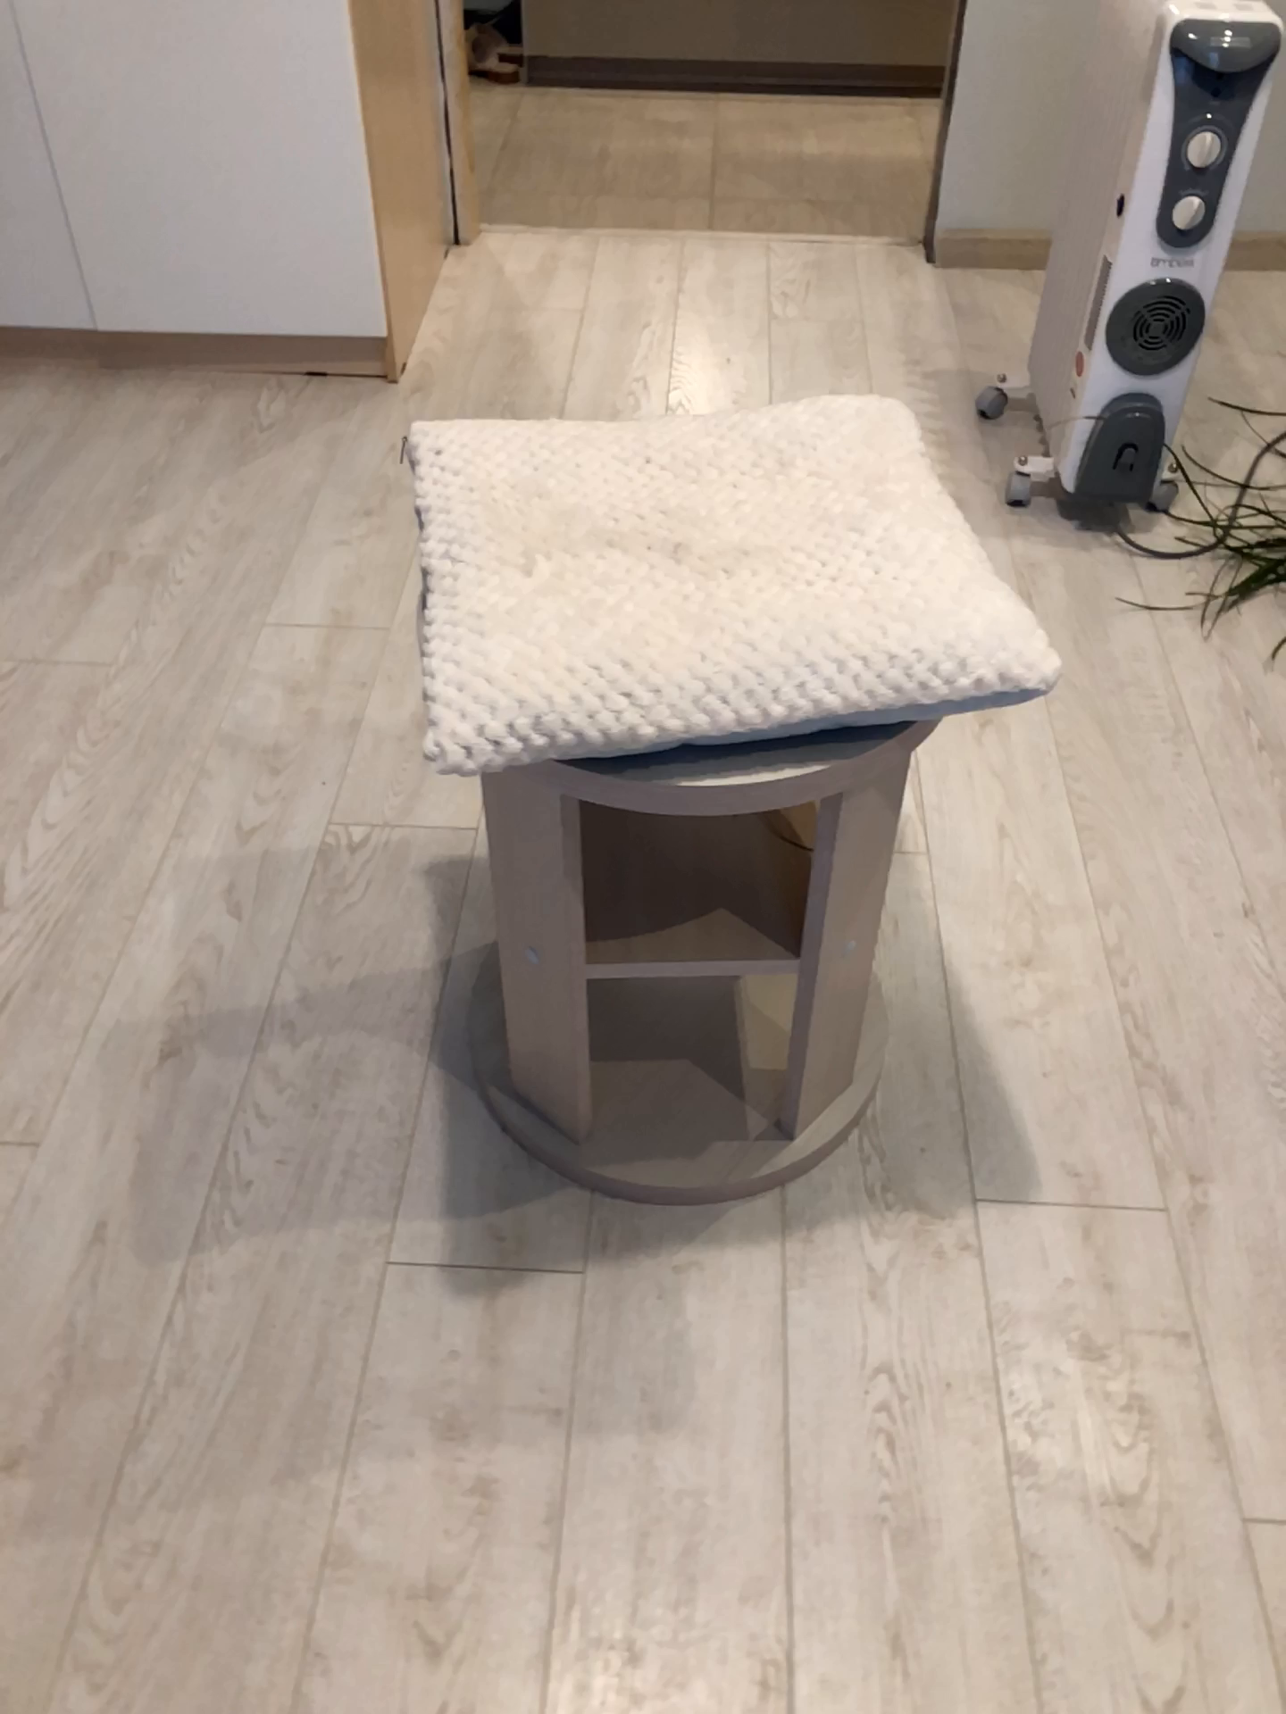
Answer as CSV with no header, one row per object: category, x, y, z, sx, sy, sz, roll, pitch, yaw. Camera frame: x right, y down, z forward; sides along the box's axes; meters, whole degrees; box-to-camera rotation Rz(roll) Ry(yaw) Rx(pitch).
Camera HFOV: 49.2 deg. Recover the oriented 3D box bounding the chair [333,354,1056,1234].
chair,0.040,-0.037,1.102,0.400,0.546,0.383,4,44,3
